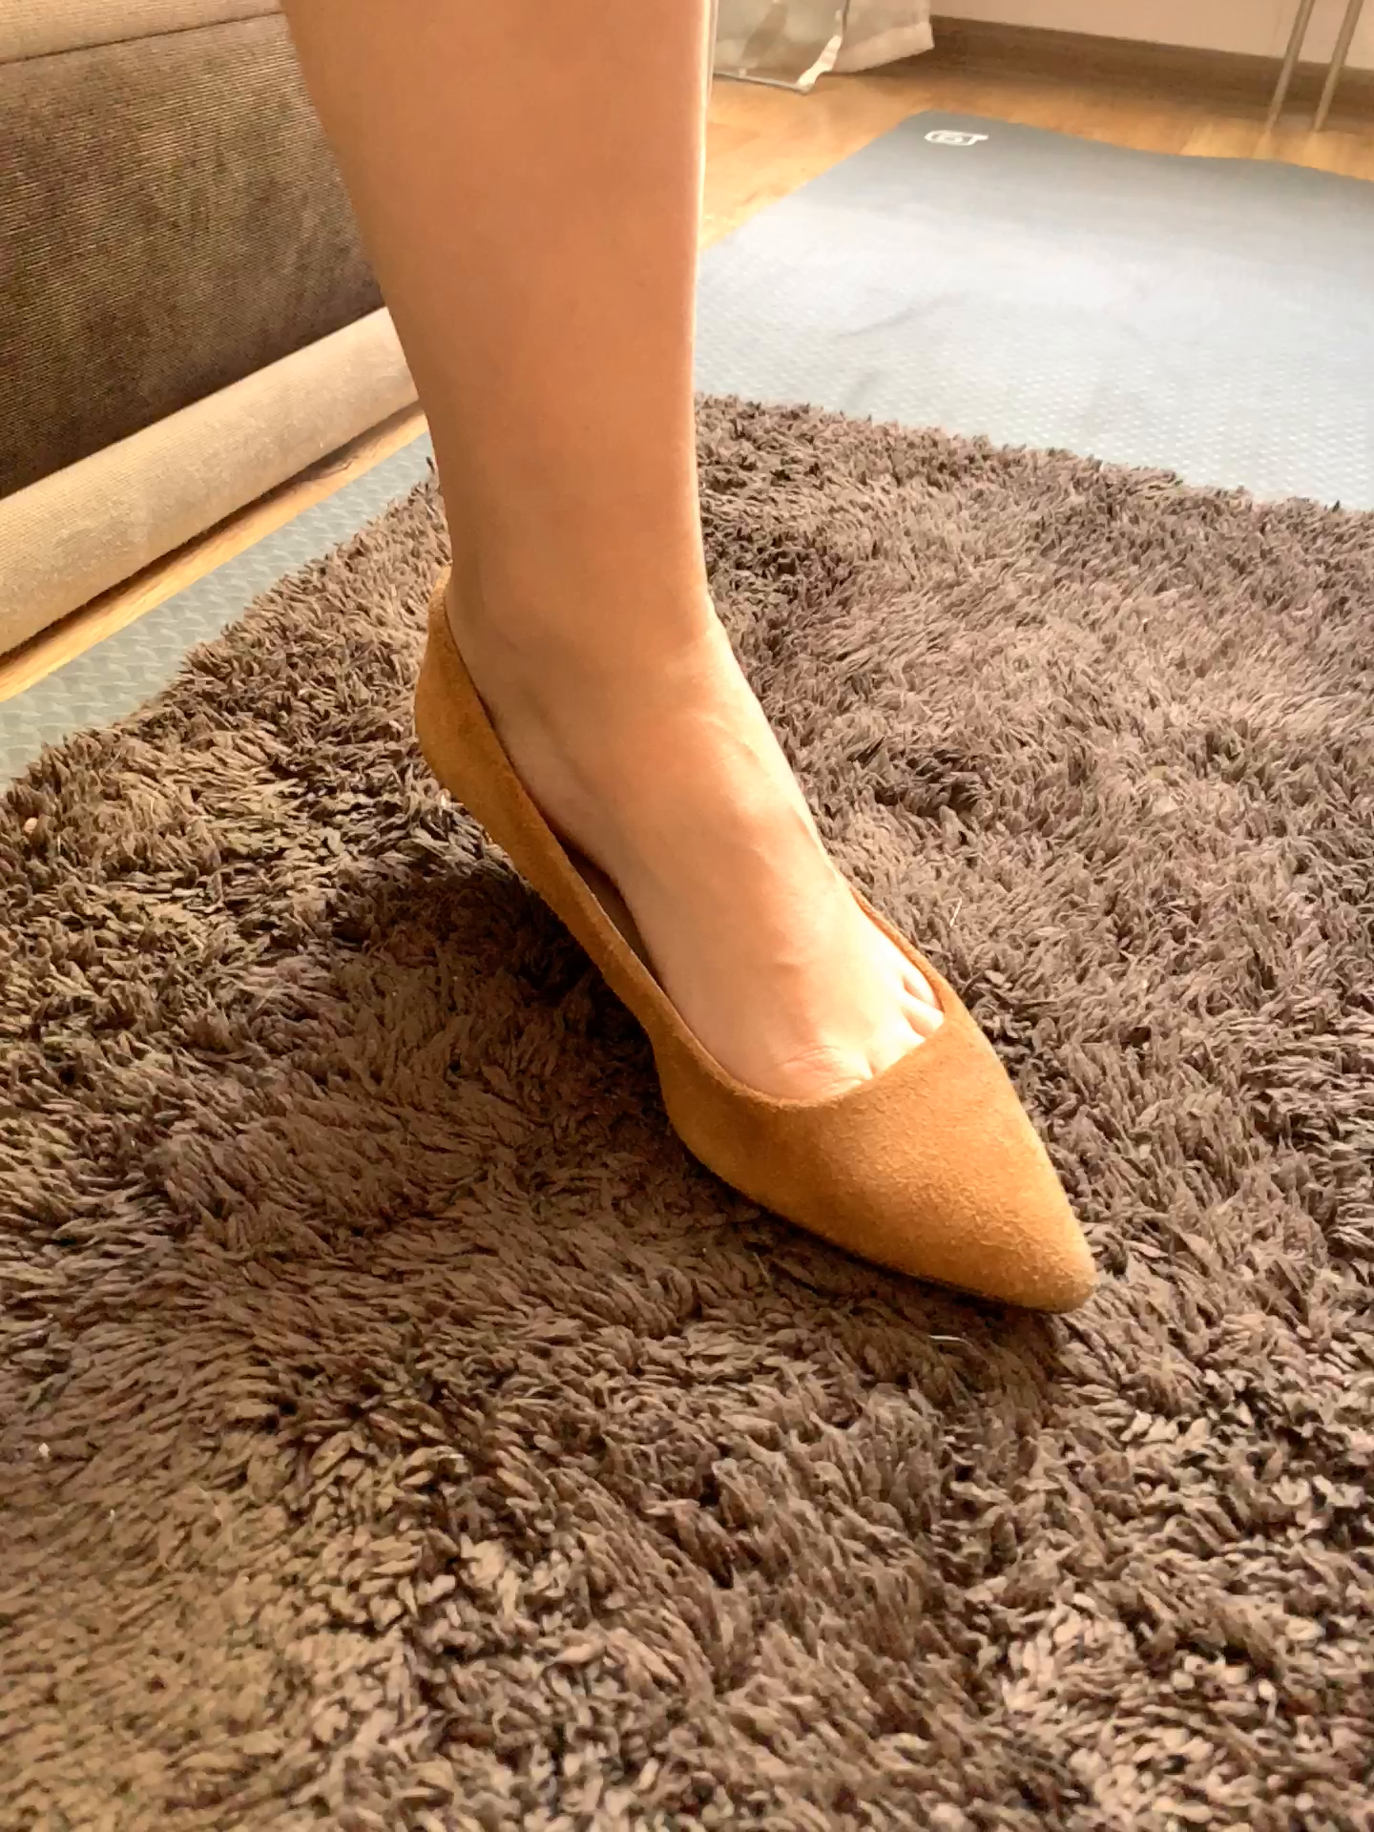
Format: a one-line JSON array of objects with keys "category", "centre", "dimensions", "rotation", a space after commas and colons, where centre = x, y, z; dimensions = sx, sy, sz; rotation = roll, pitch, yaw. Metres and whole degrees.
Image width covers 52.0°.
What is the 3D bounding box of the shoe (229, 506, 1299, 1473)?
[{"category": "shoe", "centre": [-0.003, -0.007, 0.336], "dimensions": [0.090, 0.080, 0.251], "rotation": [-26, 48, -33]}]
